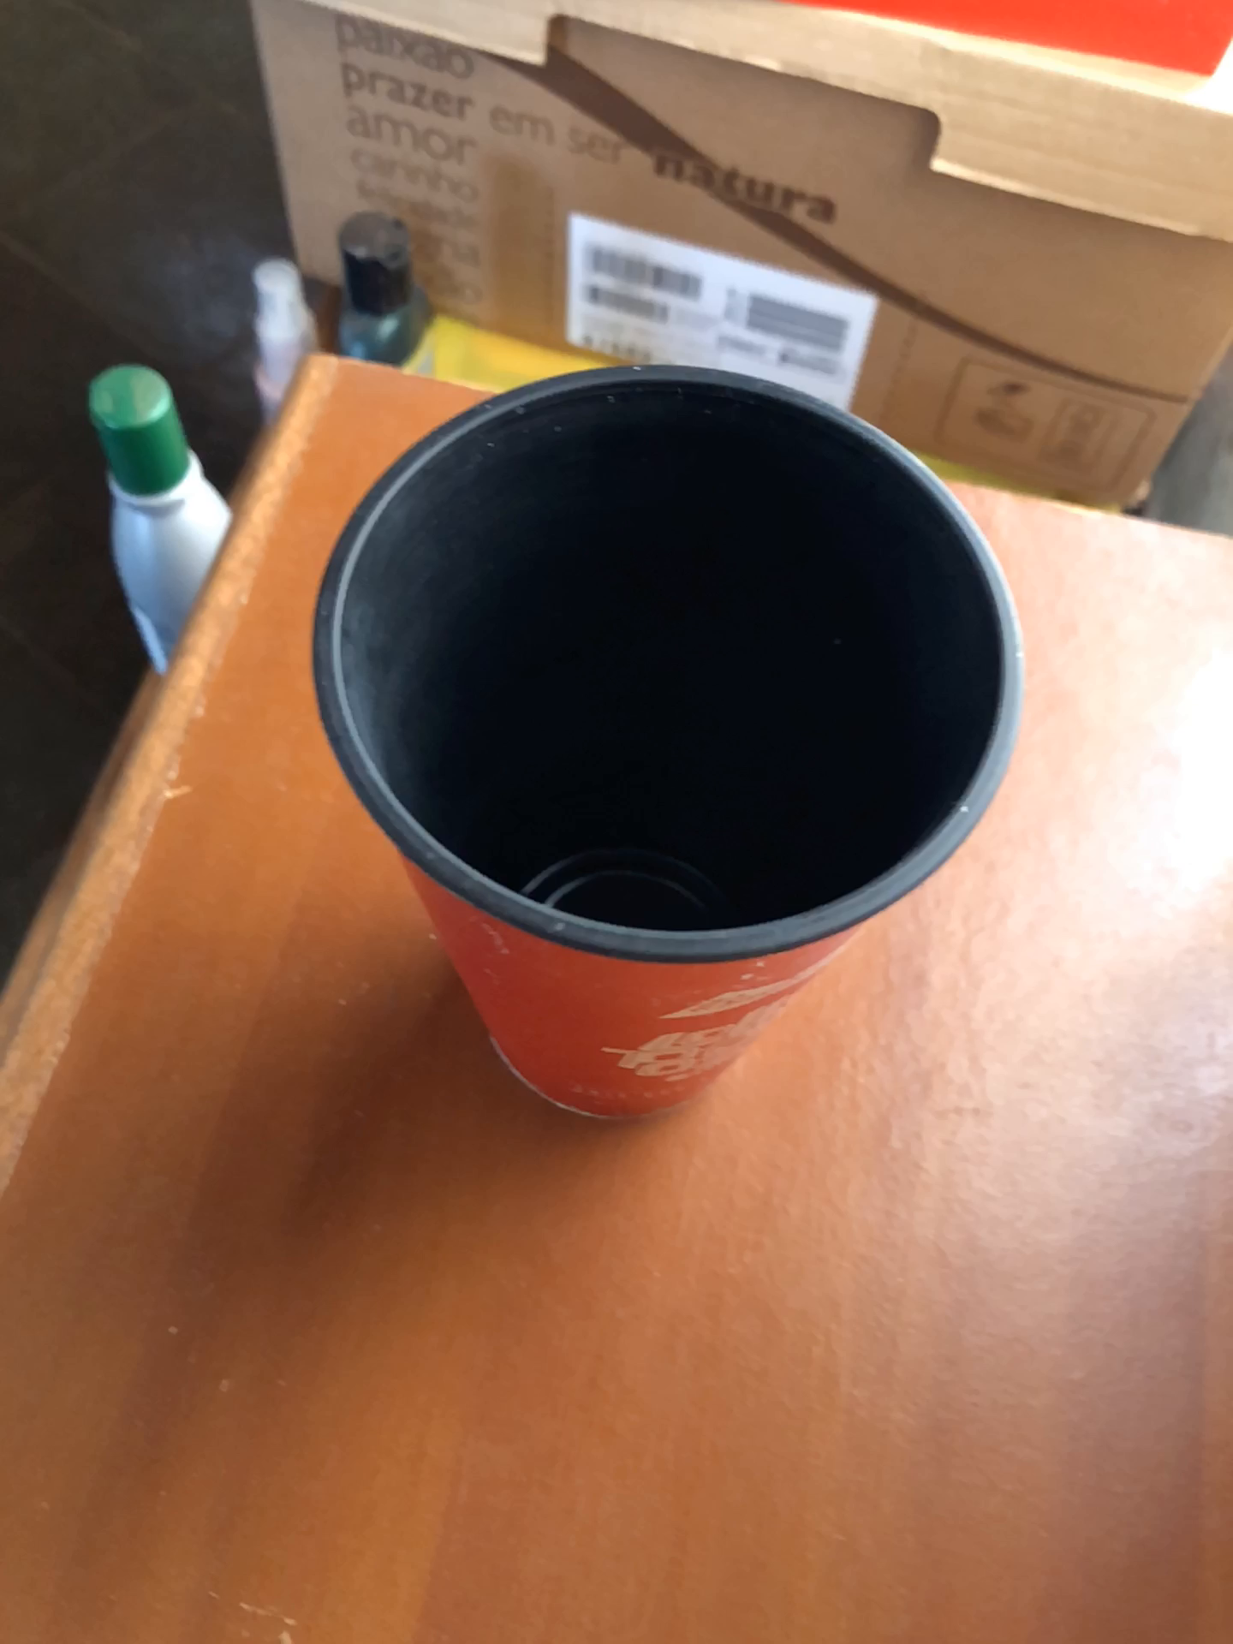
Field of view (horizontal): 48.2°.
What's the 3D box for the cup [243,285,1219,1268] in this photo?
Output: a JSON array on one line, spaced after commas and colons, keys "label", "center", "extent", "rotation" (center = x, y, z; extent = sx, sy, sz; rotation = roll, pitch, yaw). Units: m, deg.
[{"label": "cup", "center": [0.007, 0.003, 0.241], "extent": [0.100, 0.139, 0.090], "rotation": [-18, 65, -14]}]
